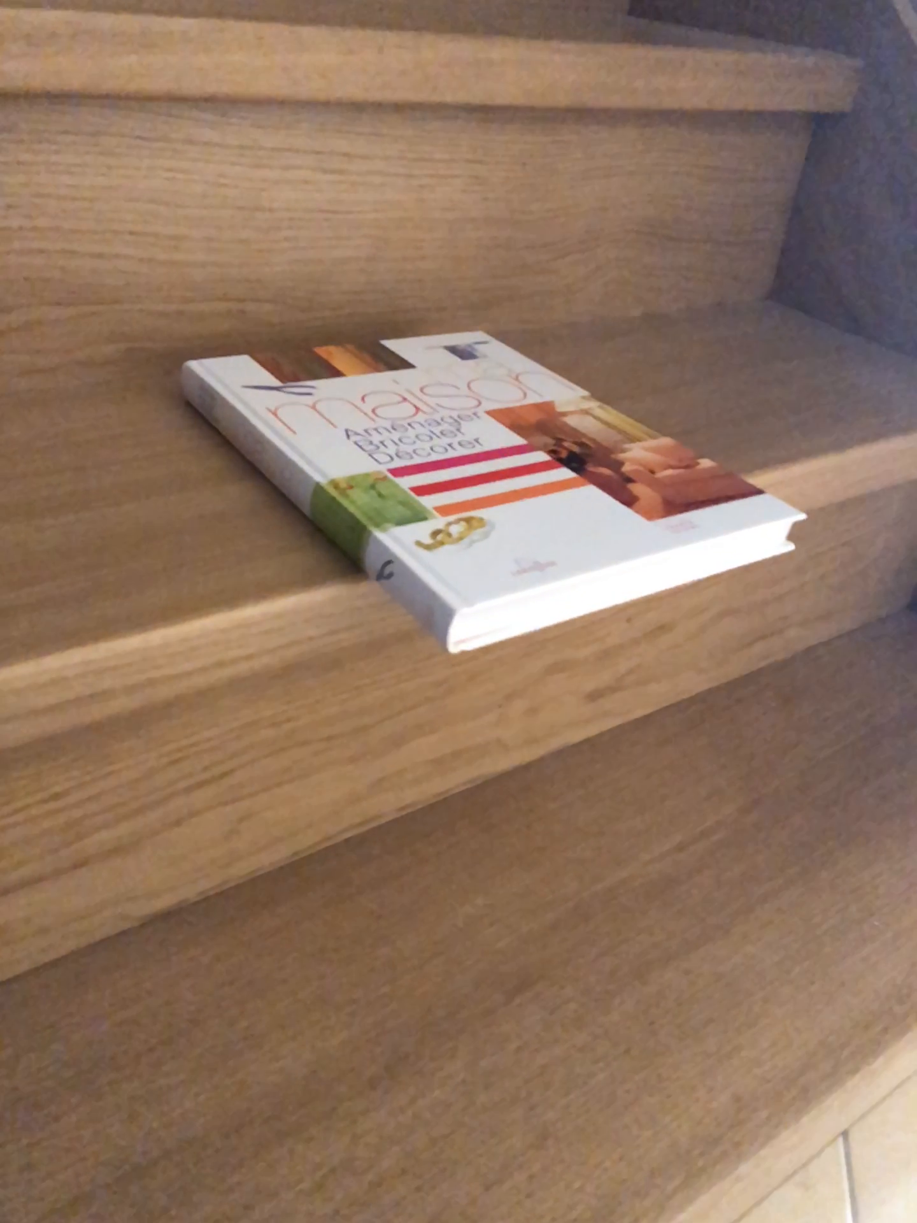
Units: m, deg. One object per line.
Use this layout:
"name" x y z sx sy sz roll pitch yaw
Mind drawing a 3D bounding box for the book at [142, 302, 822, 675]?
"book" -0.005 -0.092 0.523 0.211 0.030 0.310 -16 40 -31
